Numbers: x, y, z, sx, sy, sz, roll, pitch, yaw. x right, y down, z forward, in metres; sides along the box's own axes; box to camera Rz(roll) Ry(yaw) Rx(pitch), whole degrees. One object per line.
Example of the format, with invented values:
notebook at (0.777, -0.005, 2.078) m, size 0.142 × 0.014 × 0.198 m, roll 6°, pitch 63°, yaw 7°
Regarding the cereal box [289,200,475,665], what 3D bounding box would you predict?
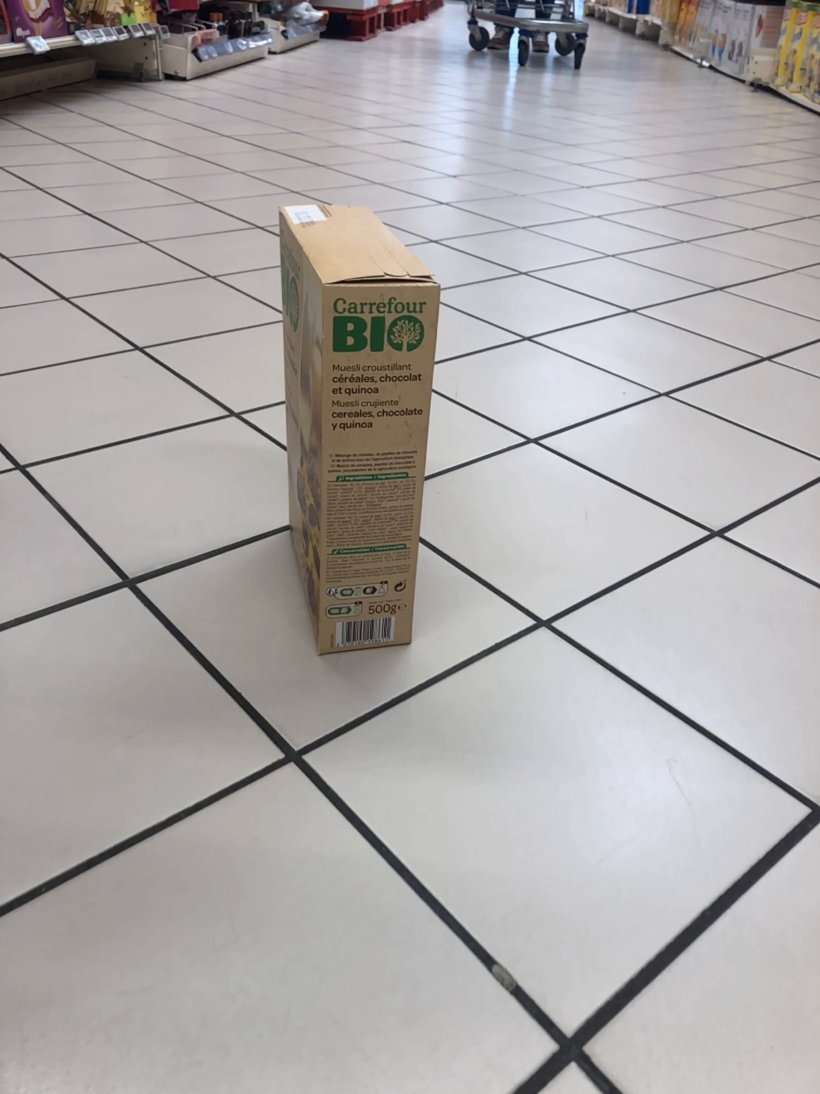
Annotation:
cereal box at (-0.029, -0.074, 0.552) m, size 0.070 × 0.229 × 0.171 m, roll -4°, pitch 32°, yaw -13°
